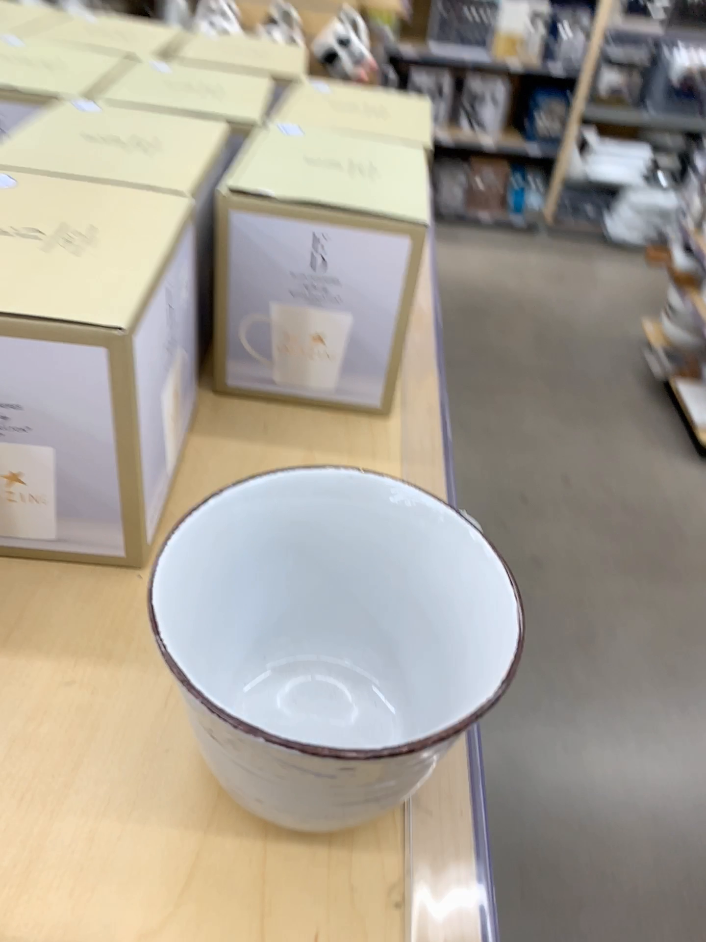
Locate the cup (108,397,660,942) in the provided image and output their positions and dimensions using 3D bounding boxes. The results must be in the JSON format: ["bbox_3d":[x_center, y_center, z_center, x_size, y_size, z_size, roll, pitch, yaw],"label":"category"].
[{"bbox_3d":[0.007,0.052,0.244,0.124,0.075,0.114,4,39,-3],"label":"cup"}]
